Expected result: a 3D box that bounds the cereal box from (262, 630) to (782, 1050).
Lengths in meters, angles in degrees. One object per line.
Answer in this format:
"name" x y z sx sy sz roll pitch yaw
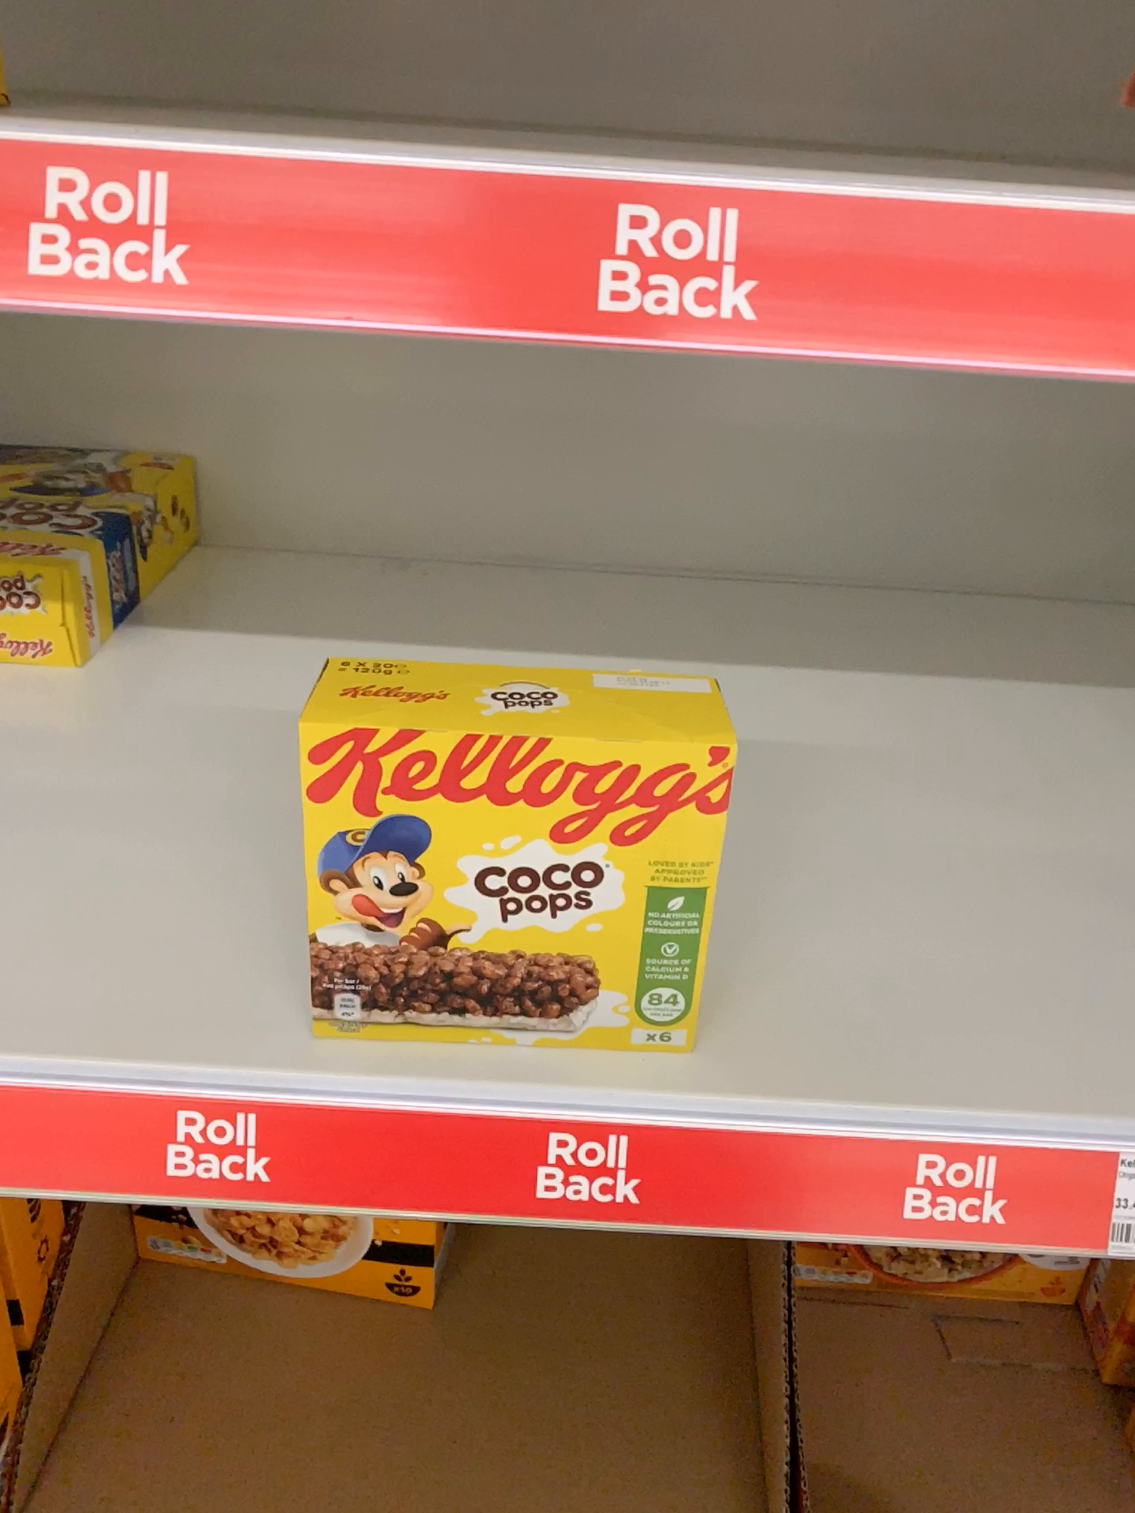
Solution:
"cereal box" -0.016 0.029 0.391 0.150 0.119 0.061 3 28 -2
